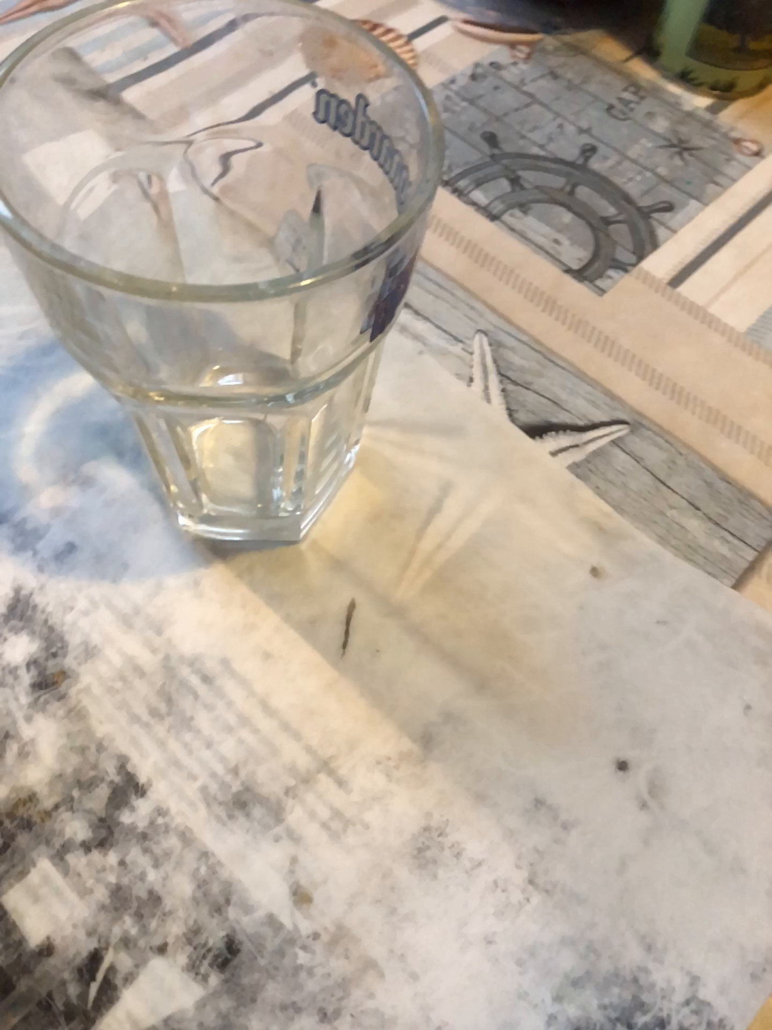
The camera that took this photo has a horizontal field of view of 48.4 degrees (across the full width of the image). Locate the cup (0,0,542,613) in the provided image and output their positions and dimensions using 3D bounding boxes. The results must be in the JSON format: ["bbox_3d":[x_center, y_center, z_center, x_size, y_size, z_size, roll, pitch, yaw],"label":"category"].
[{"bbox_3d":[-0.039,-0.054,0.231,0.098,0.123,0.099,3,63,-5],"label":"cup"}]
